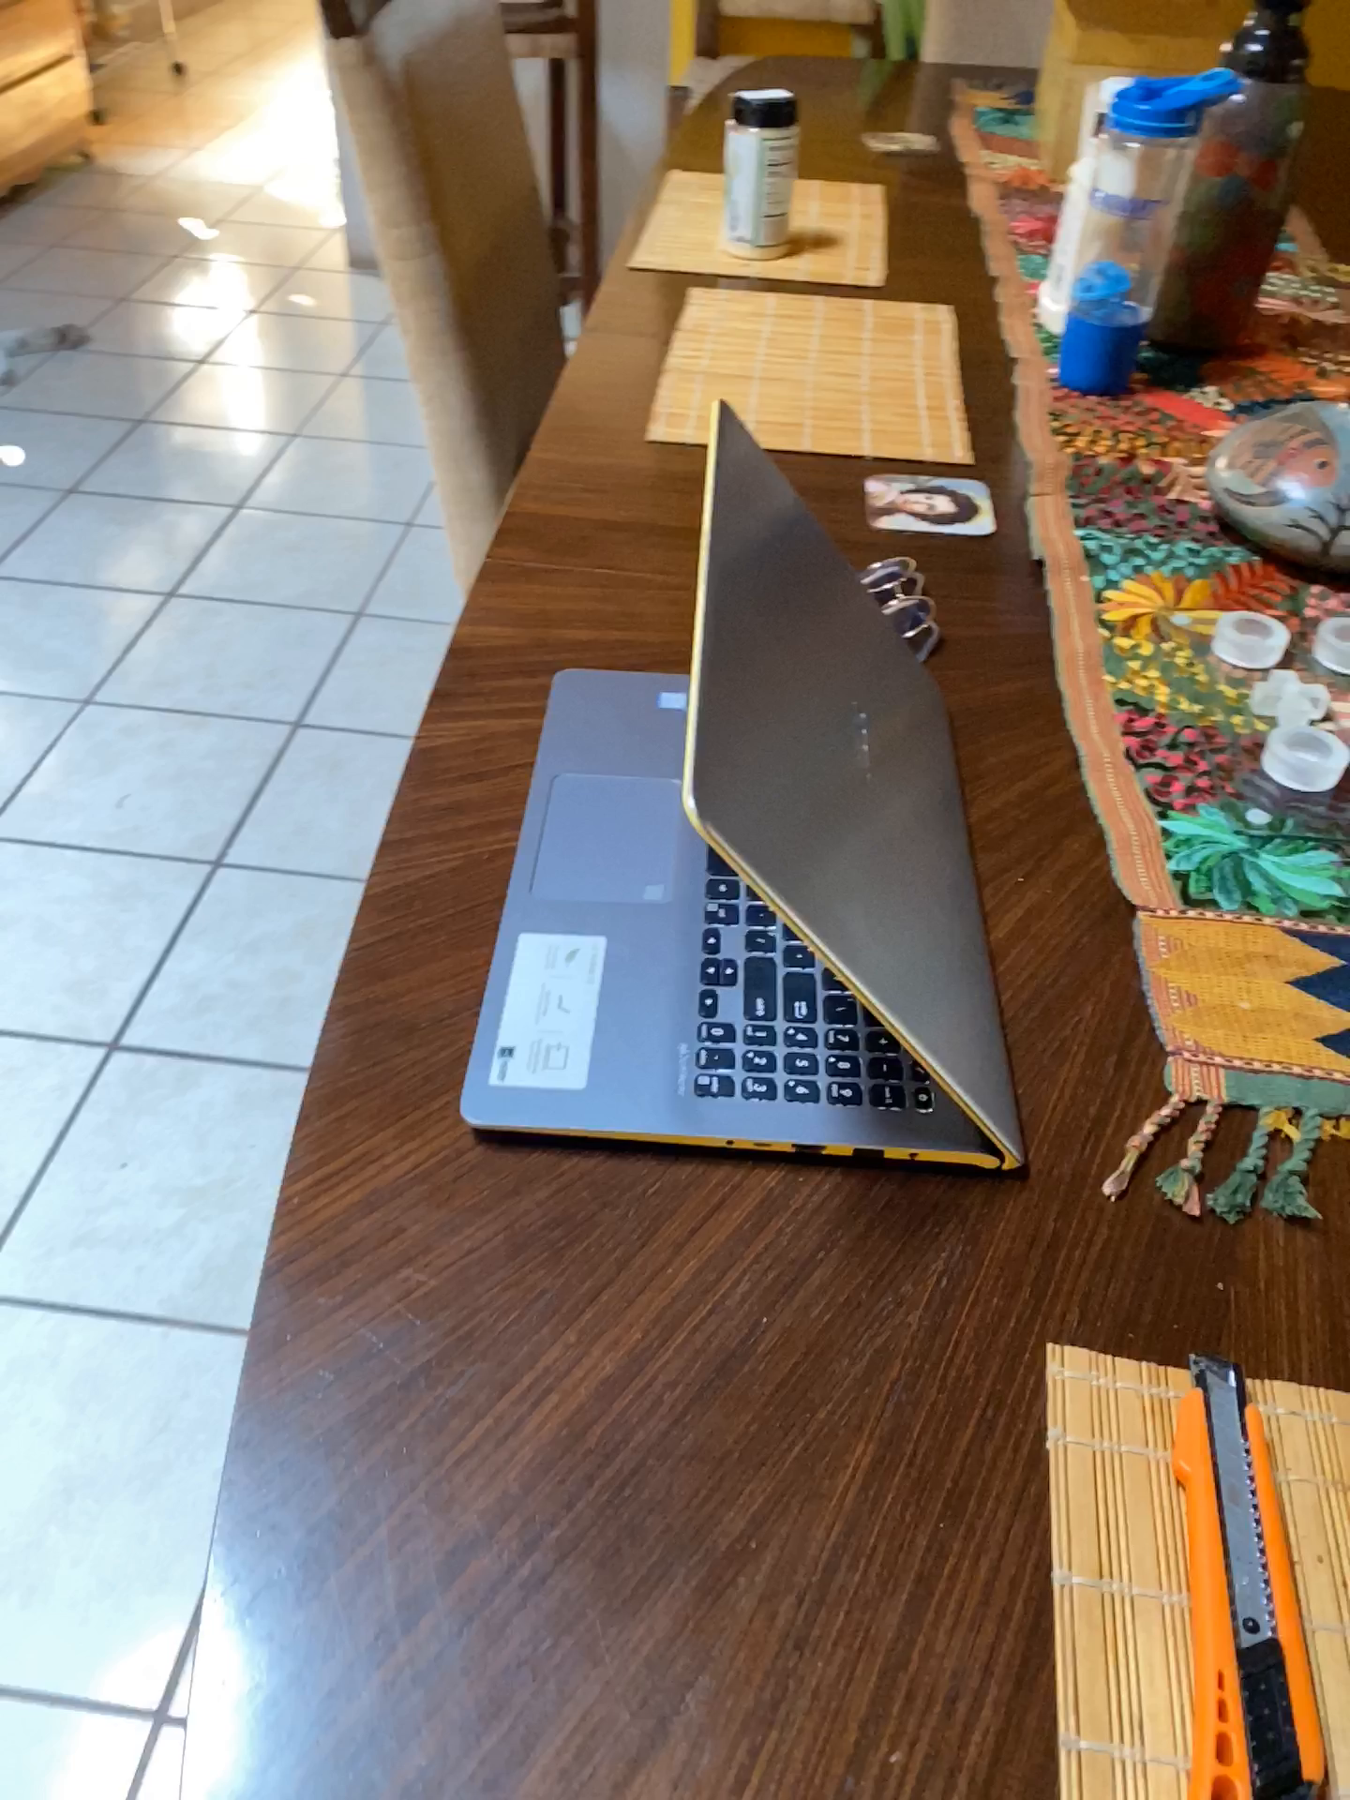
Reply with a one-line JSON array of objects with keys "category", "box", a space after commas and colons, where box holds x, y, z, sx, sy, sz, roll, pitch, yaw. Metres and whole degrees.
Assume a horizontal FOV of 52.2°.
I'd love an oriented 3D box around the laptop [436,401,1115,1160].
[{"category": "laptop", "box": [0.041, -0.084, 0.707, 0.250, 0.181, 0.379, 4, 42, 0]}]
